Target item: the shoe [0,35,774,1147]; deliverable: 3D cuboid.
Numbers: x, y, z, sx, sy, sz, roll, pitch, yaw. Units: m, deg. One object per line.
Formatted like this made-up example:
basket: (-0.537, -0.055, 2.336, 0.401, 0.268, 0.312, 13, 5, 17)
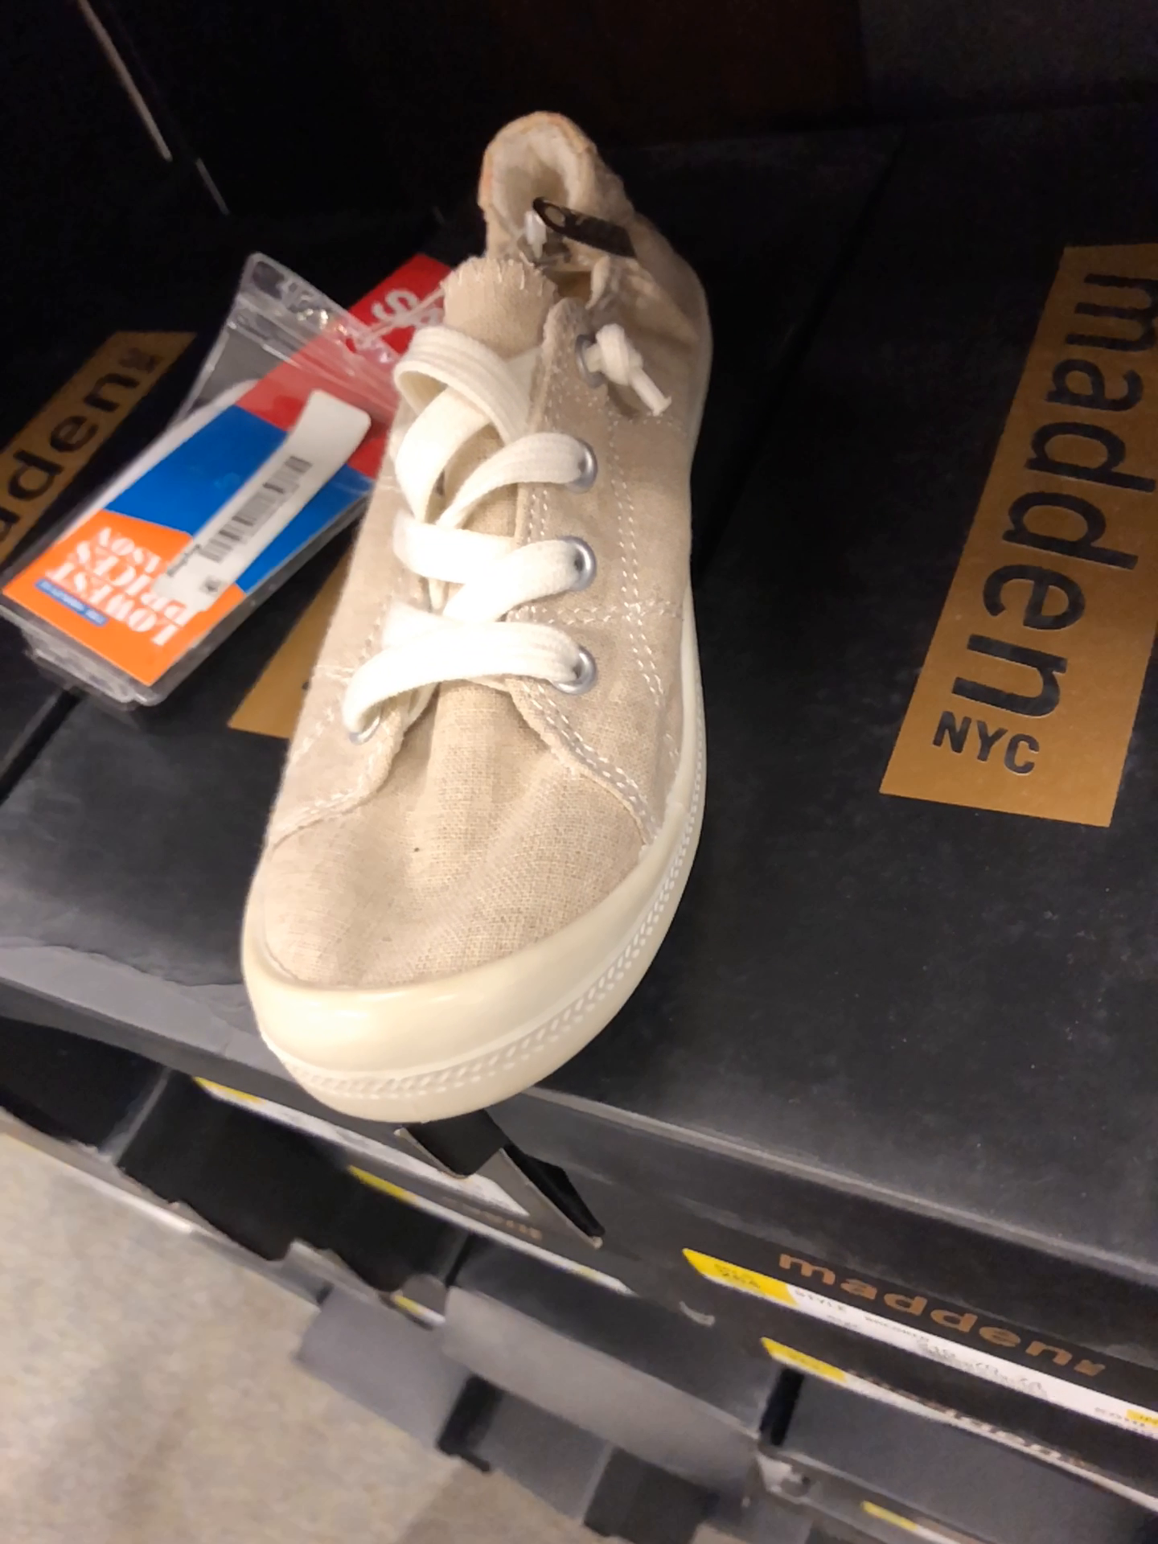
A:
shoe: (-0.022, -0.045, 0.249, 0.090, 0.070, 0.210, -3, 52, 19)
